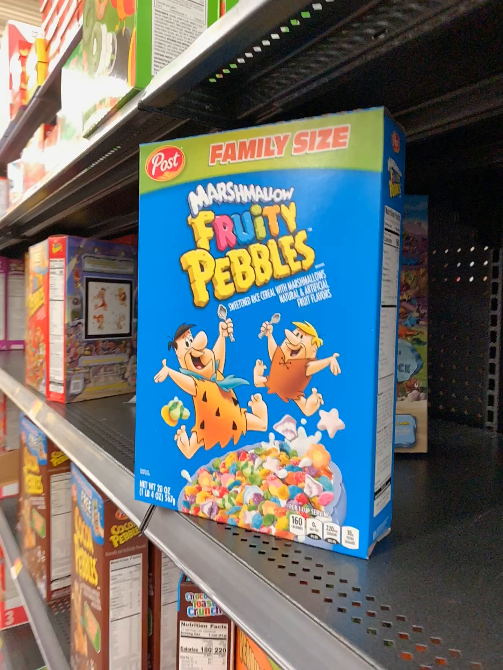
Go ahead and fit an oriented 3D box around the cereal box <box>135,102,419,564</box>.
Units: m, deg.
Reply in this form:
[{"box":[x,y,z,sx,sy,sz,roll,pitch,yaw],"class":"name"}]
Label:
[{"box":[0.014,-0.006,0.453,0.230,0.330,0.070,3,4,28],"class":"cereal box"}]
